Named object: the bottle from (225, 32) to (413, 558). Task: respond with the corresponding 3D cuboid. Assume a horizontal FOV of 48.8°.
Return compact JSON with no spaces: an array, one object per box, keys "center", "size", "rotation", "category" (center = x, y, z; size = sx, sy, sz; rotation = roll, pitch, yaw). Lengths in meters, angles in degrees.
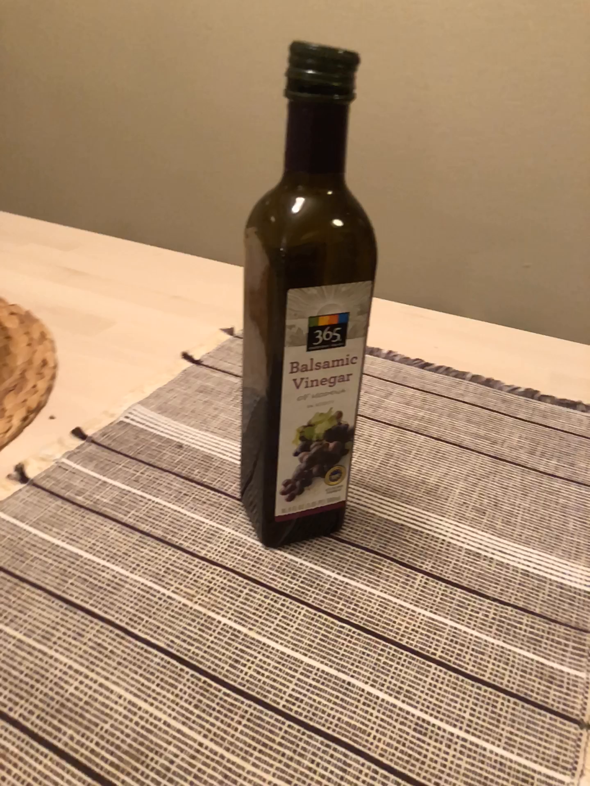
[{"center":[0.001,-0.037,0.340],"size":[0.060,0.261,0.060],"rotation":[3,30,-2],"category":"bottle"}]
